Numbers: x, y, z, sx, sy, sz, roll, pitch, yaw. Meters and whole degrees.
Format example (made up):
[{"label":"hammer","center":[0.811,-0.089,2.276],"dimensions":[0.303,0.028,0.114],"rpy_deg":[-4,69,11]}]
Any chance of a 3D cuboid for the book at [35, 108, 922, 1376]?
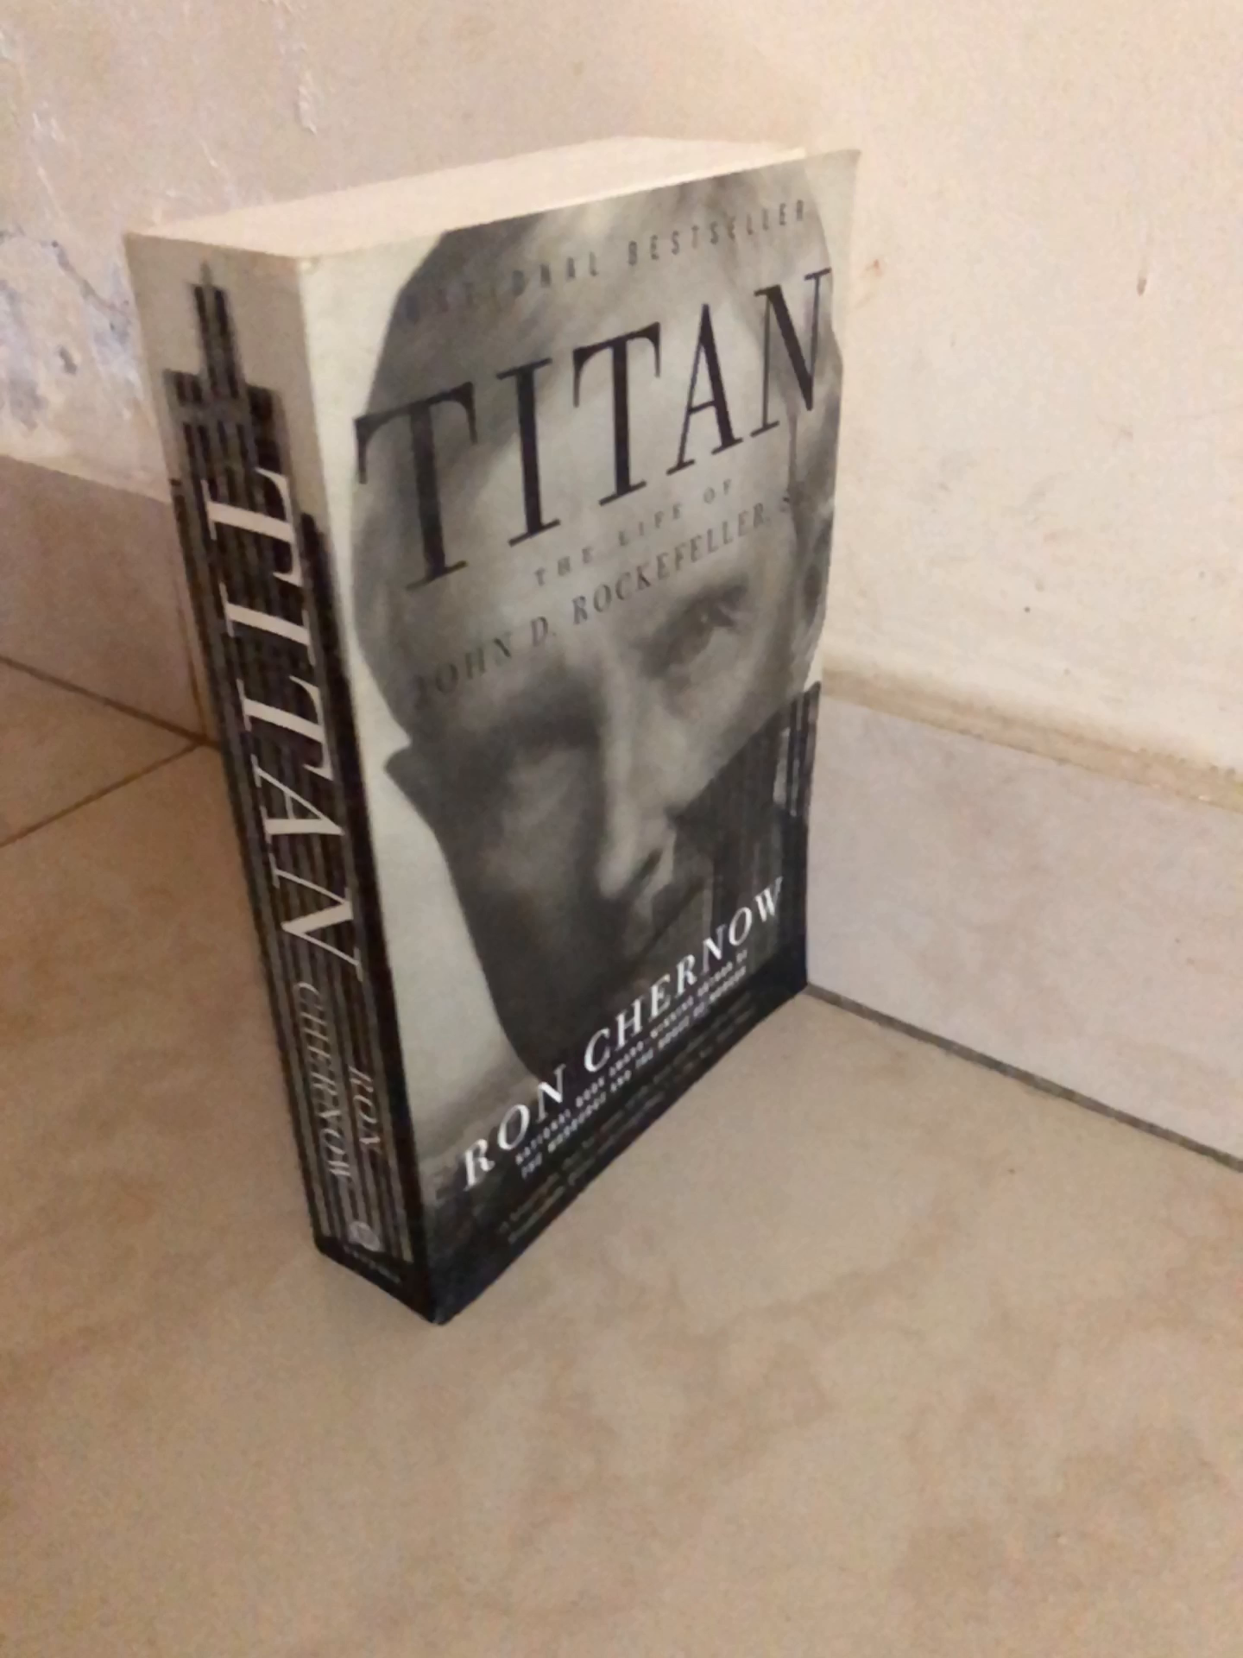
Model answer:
[{"label":"book","center":[-0.008,-0.032,0.327],"dimensions":[0.060,0.229,0.201],"rpy_deg":[18,36,28]}]
